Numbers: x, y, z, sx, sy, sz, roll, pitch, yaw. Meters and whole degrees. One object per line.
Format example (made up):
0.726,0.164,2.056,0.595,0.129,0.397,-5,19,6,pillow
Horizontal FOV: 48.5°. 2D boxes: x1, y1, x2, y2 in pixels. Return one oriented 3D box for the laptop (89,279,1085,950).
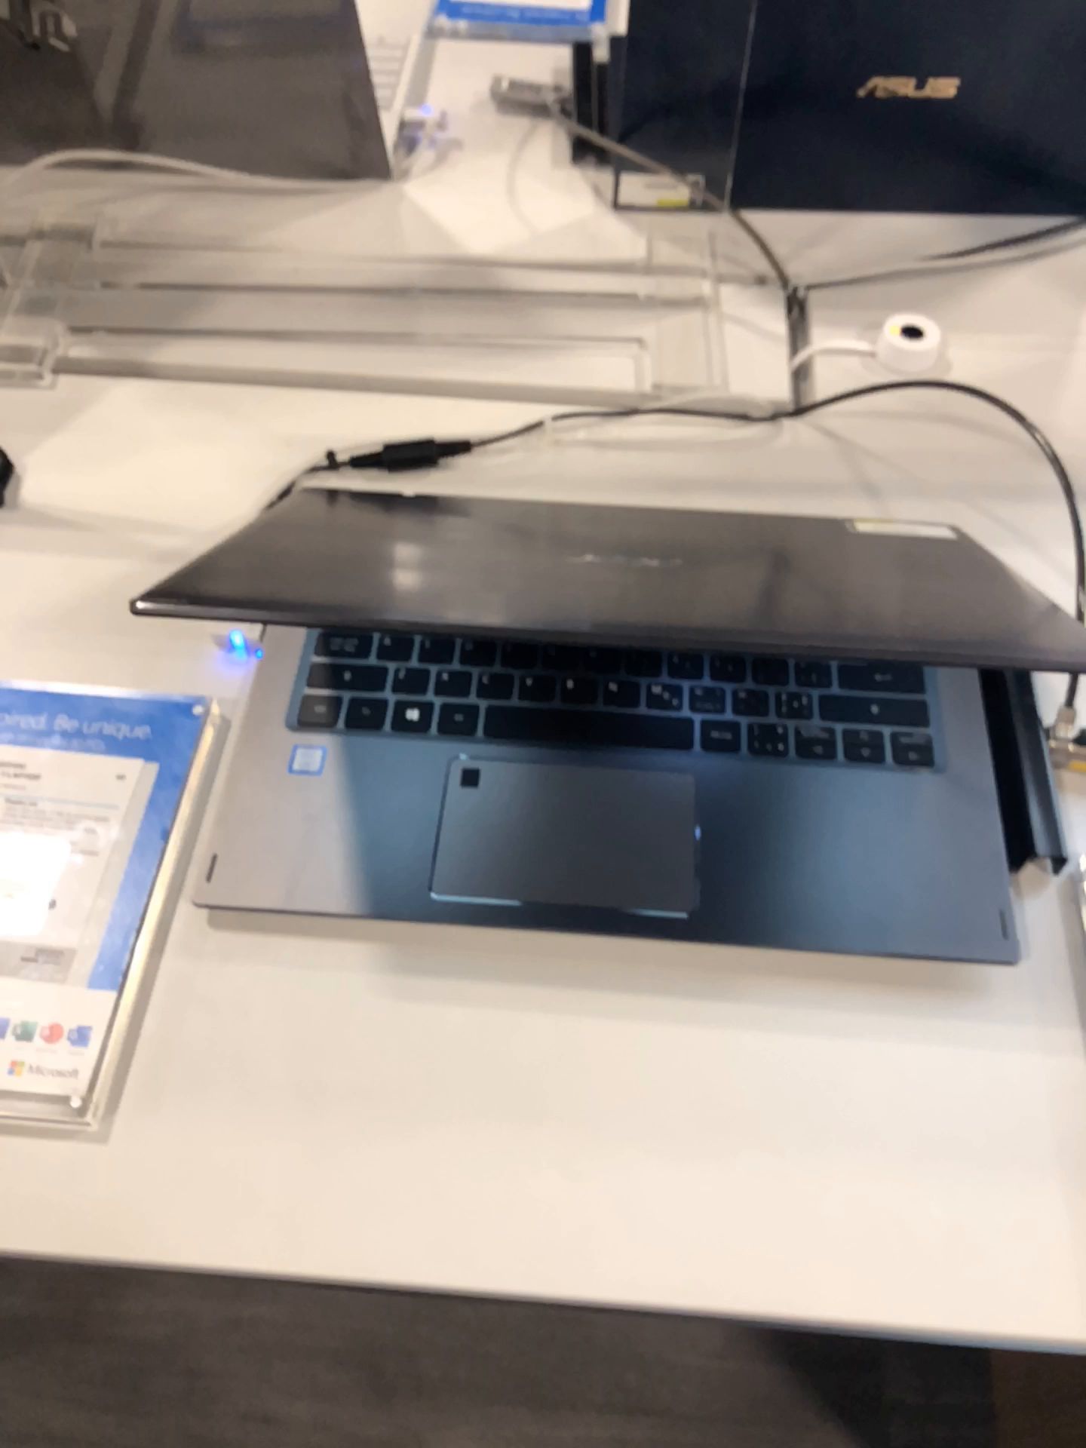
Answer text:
0.024,-0.046,0.464,0.301,0.124,0.212,4,55,3,laptop
